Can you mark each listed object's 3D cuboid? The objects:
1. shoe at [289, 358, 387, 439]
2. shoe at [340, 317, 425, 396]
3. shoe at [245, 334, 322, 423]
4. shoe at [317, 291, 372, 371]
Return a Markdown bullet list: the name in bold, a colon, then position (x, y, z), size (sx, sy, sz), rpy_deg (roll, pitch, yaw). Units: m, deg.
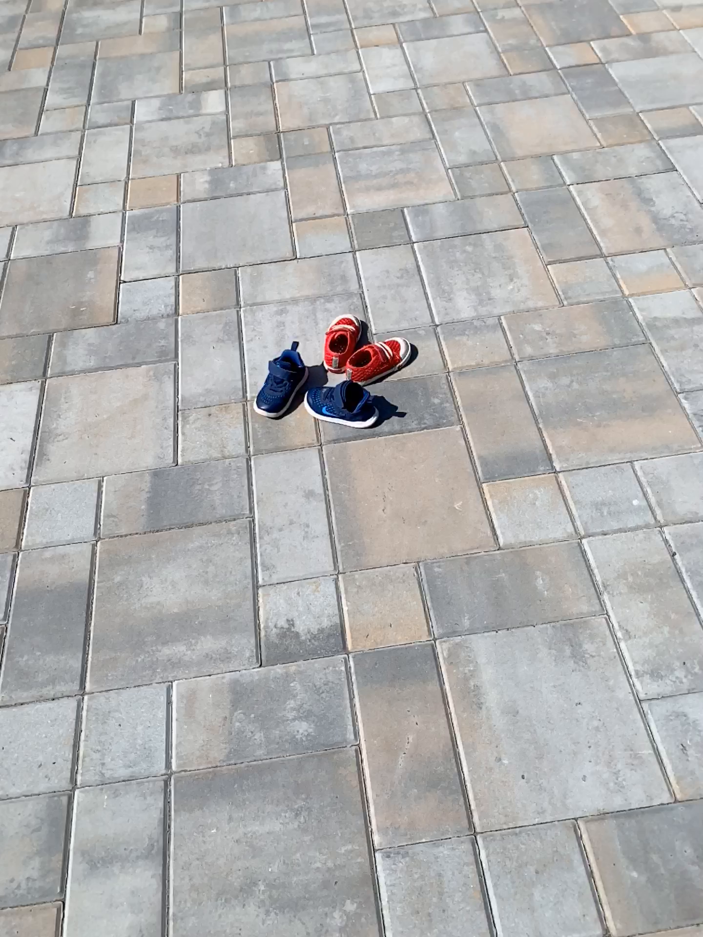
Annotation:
- **shoe**: position (-0.026, -0.147, 1.503), size (0.180, 0.090, 0.090), rpy_deg (17, 57, 16)
- **shoe**: position (0.069, -0.245, 1.562), size (0.170, 0.070, 0.080), rpy_deg (-33, 58, -18)
- **shoe**: position (-0.141, -0.192, 1.517), size (0.080, 0.070, 0.170), rpy_deg (20, 58, 18)
- **shoe**: position (-0.012, -0.305, 1.580), size (0.080, 0.070, 0.170), rpy_deg (8, 55, 10)
